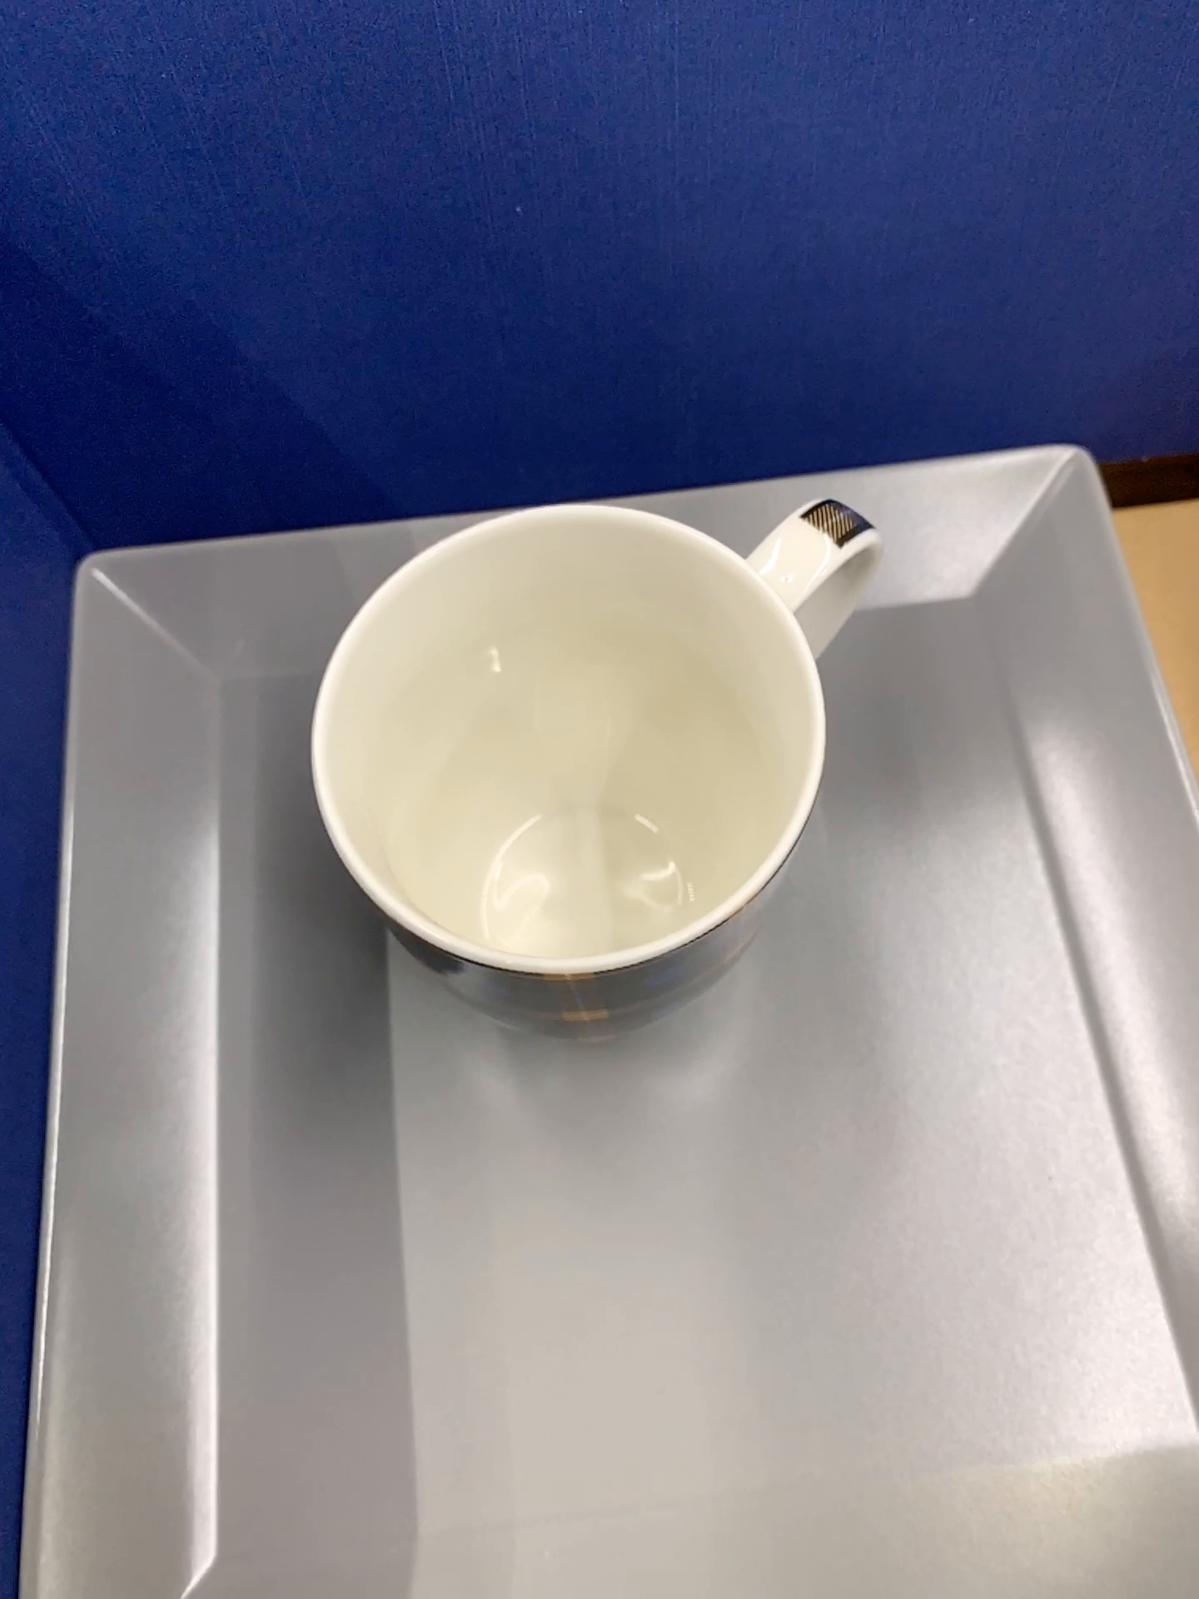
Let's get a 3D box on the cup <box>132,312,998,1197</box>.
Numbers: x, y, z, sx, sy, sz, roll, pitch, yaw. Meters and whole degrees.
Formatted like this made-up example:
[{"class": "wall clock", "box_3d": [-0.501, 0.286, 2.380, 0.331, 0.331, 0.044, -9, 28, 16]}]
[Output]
[{"class": "cup", "box_3d": [-0.001, -0.006, 0.251, 0.095, 0.089, 0.122, 29, 70, 16]}]
